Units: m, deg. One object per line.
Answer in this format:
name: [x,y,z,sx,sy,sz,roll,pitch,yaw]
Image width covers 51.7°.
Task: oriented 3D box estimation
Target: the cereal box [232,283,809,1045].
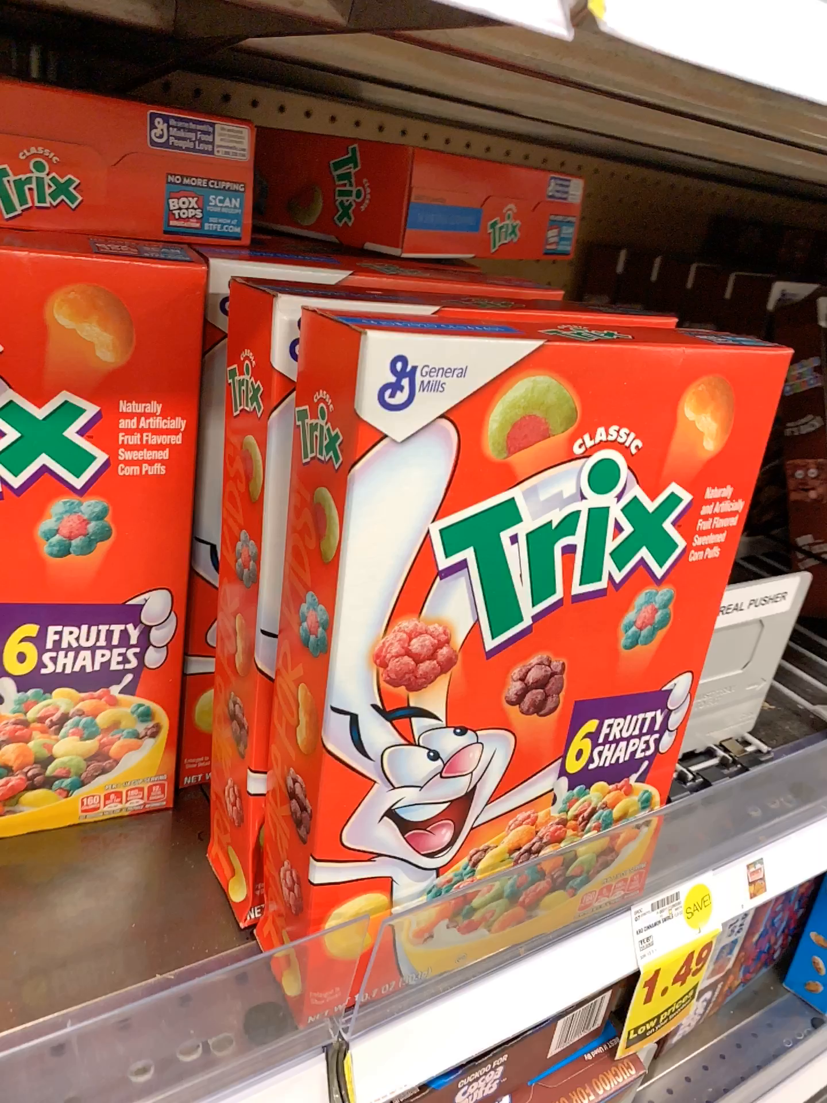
cereal box: [0.038,0.046,0.367,0.200,0.289,0.060,-6,27,-32]
